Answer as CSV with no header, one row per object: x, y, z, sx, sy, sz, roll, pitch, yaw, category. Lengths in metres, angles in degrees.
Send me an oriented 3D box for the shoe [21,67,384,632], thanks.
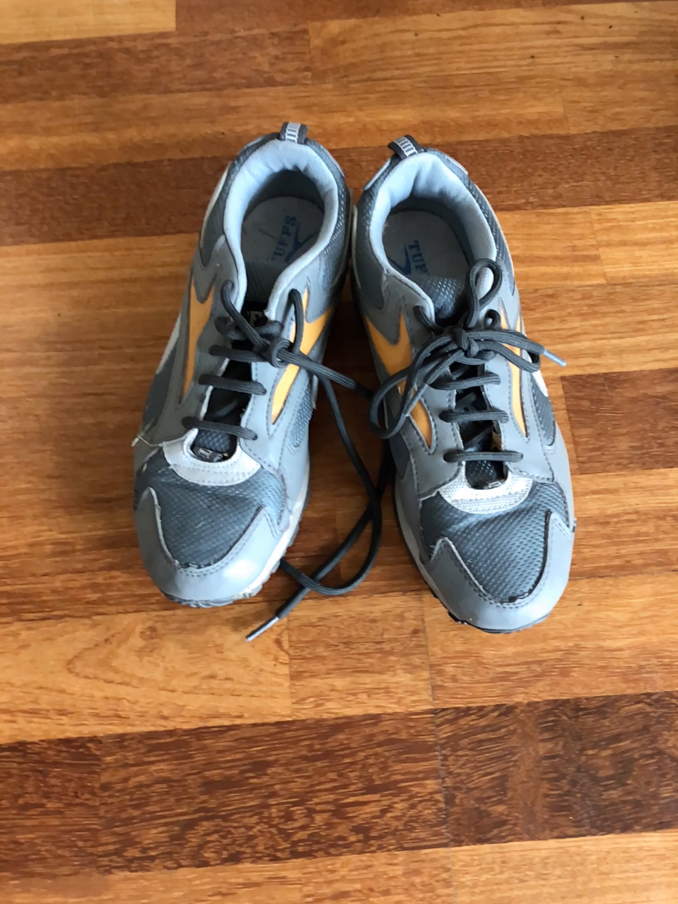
-0.057,-0.060,0.407,0.110,0.088,0.284,11,69,1,shoe

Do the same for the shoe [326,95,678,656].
0.072,-0.046,0.412,0.112,0.099,0.284,-8,69,-6,shoe
